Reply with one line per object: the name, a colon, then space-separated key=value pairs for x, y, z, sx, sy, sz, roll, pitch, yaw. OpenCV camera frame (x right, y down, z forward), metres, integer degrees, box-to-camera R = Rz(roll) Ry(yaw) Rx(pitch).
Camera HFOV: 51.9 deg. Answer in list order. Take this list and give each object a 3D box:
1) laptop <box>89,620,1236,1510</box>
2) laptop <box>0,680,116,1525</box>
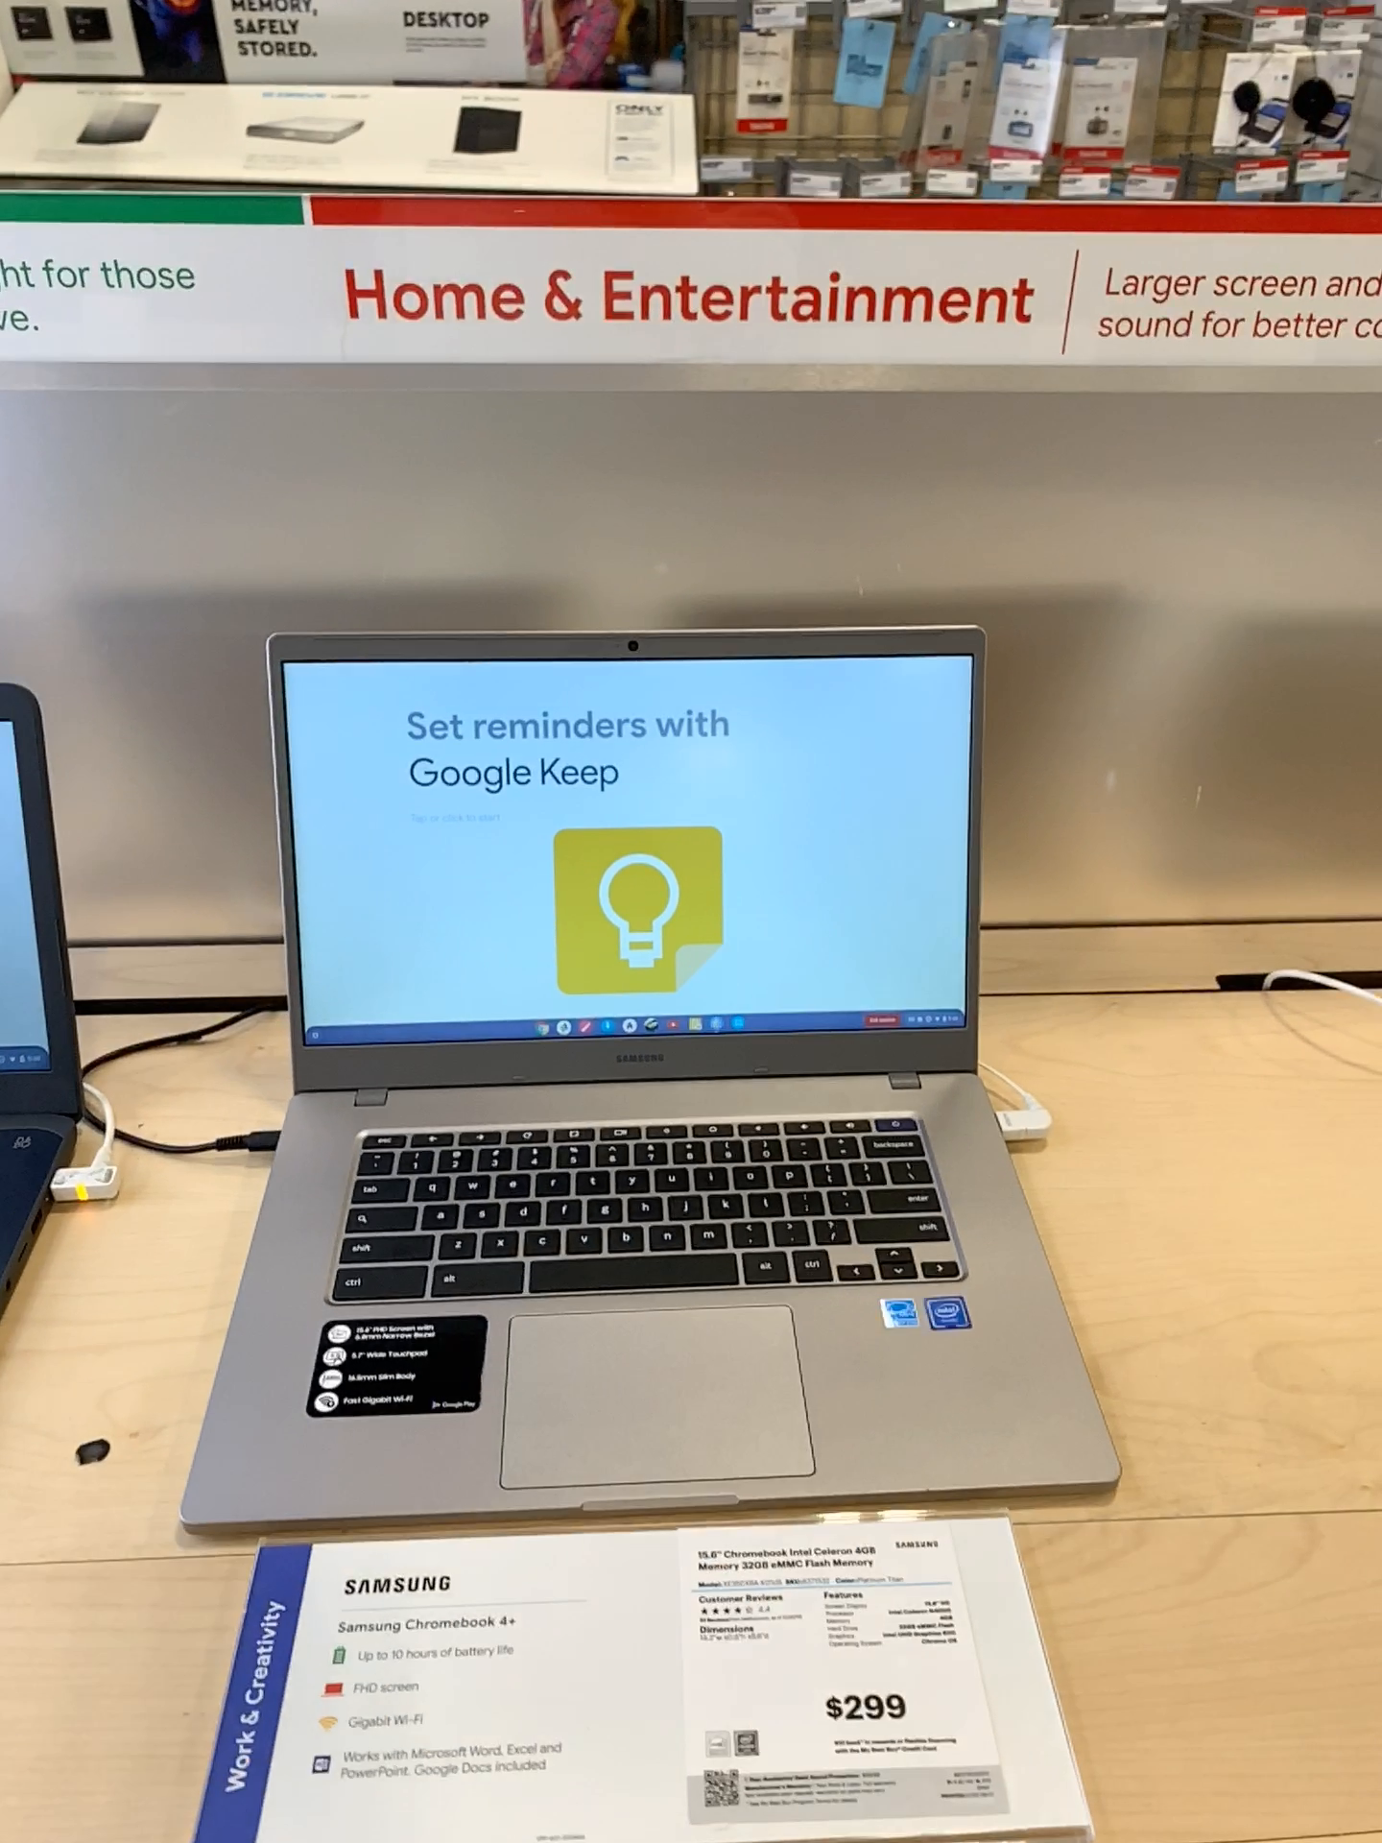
laptop: x=-0.014 y=0.033 z=0.608 sx=0.340 sy=0.200 sz=0.326 roll=-1 pitch=33 yaw=-2
laptop: x=-0.438 y=0.049 z=0.570 sx=0.300 sy=0.191 sz=0.288 roll=-2 pitch=32 yaw=-4
